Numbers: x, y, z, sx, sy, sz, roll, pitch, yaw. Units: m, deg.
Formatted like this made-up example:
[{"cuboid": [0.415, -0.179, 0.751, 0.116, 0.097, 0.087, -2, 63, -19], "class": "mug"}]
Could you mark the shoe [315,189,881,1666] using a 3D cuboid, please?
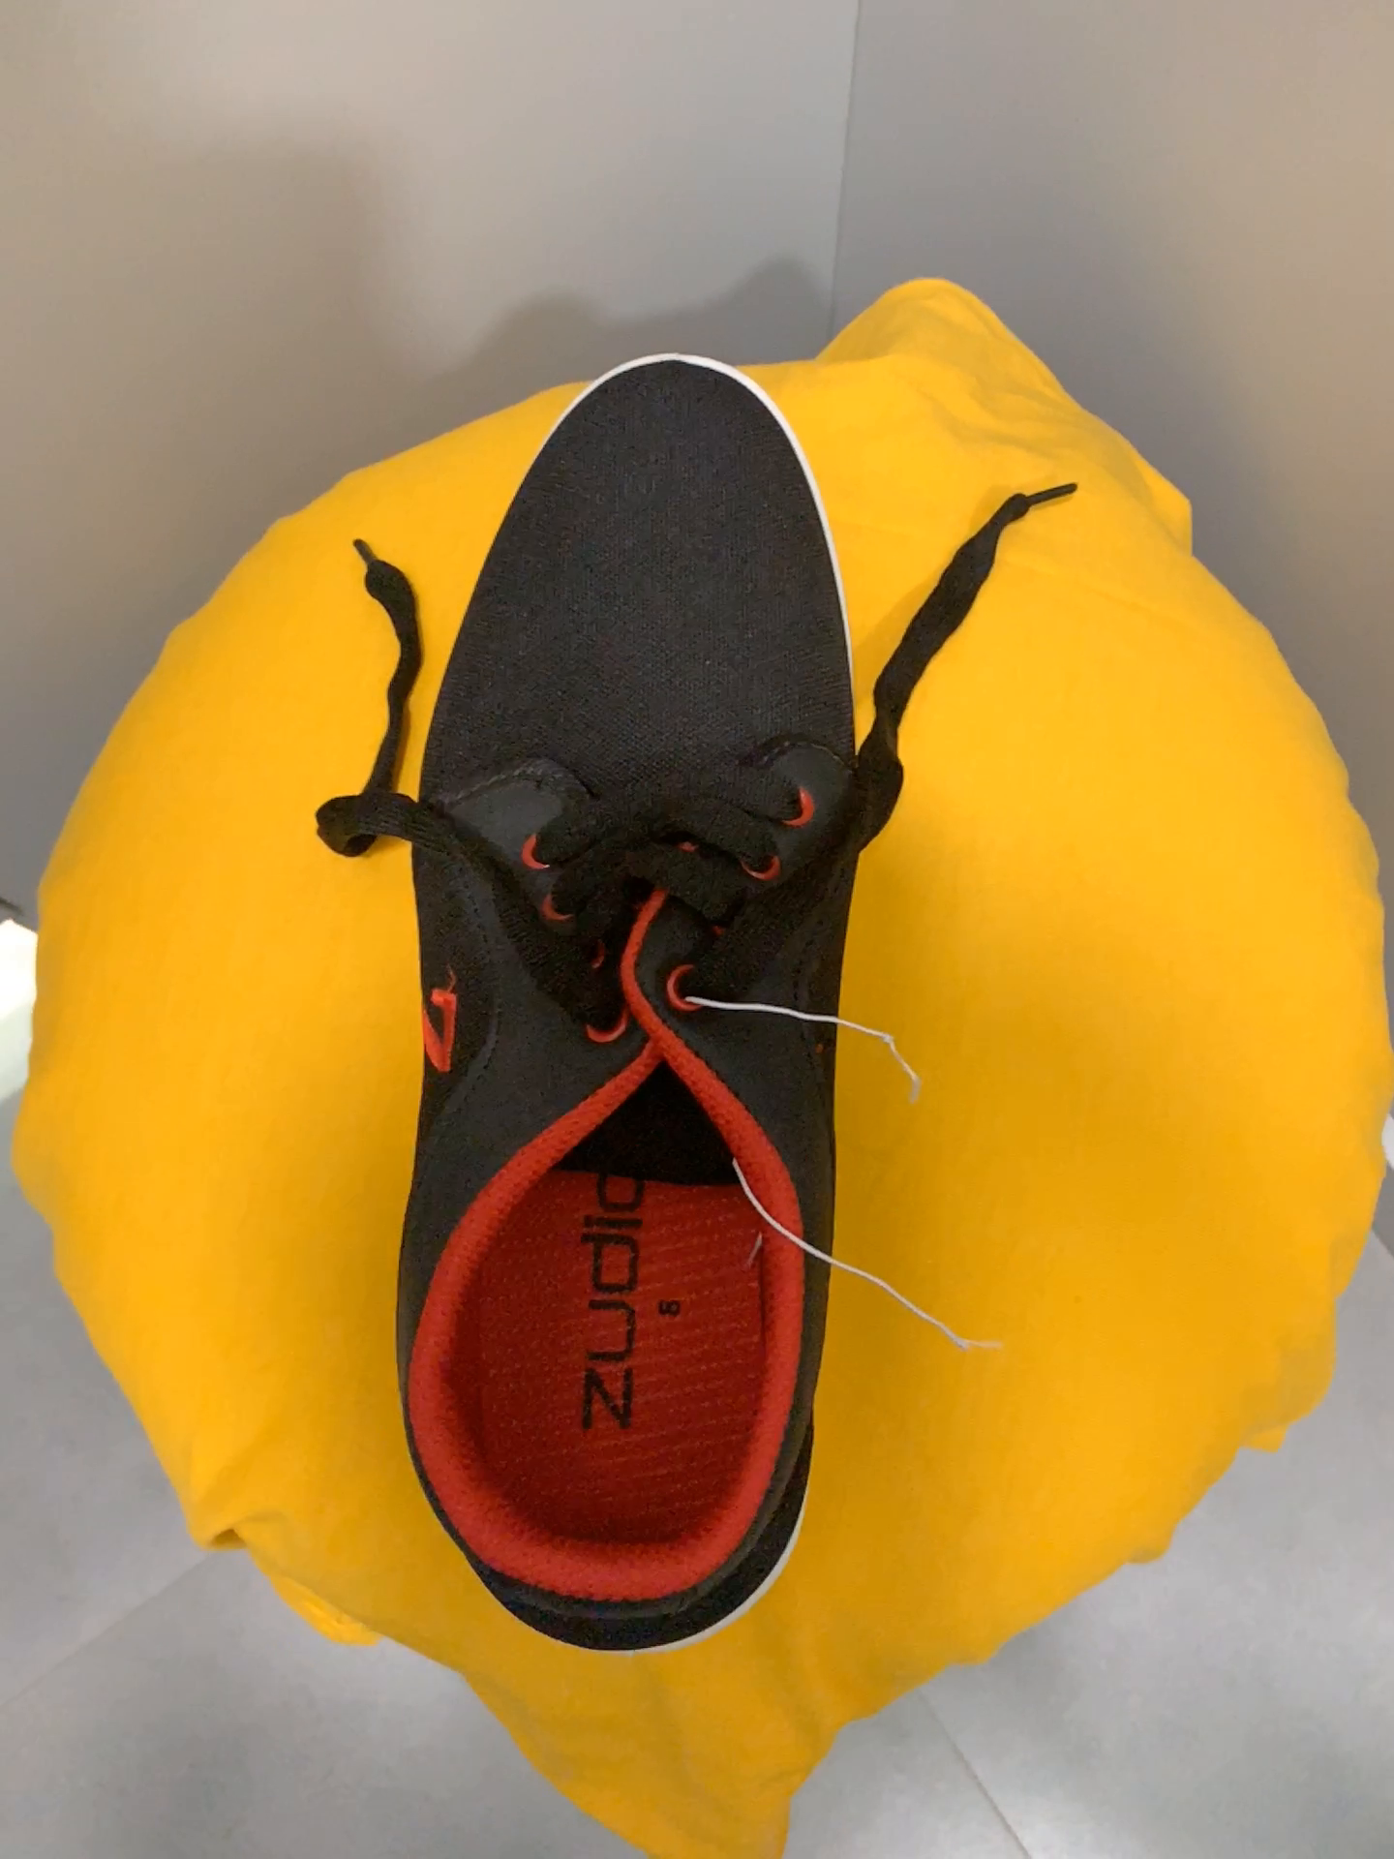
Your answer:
[{"cuboid": [-0.012, -0.005, 0.306, 0.090, 0.100, 0.270, 1, 77, 2], "class": "shoe"}]
